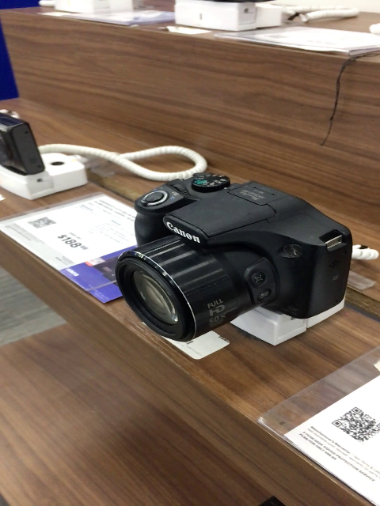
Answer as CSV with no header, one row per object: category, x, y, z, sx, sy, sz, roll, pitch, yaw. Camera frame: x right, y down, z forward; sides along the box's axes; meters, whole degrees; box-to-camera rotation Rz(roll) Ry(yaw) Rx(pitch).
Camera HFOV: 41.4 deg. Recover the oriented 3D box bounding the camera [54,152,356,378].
camera,0.004,-0.001,0.301,0.097,0.076,0.123,-24,40,-29
